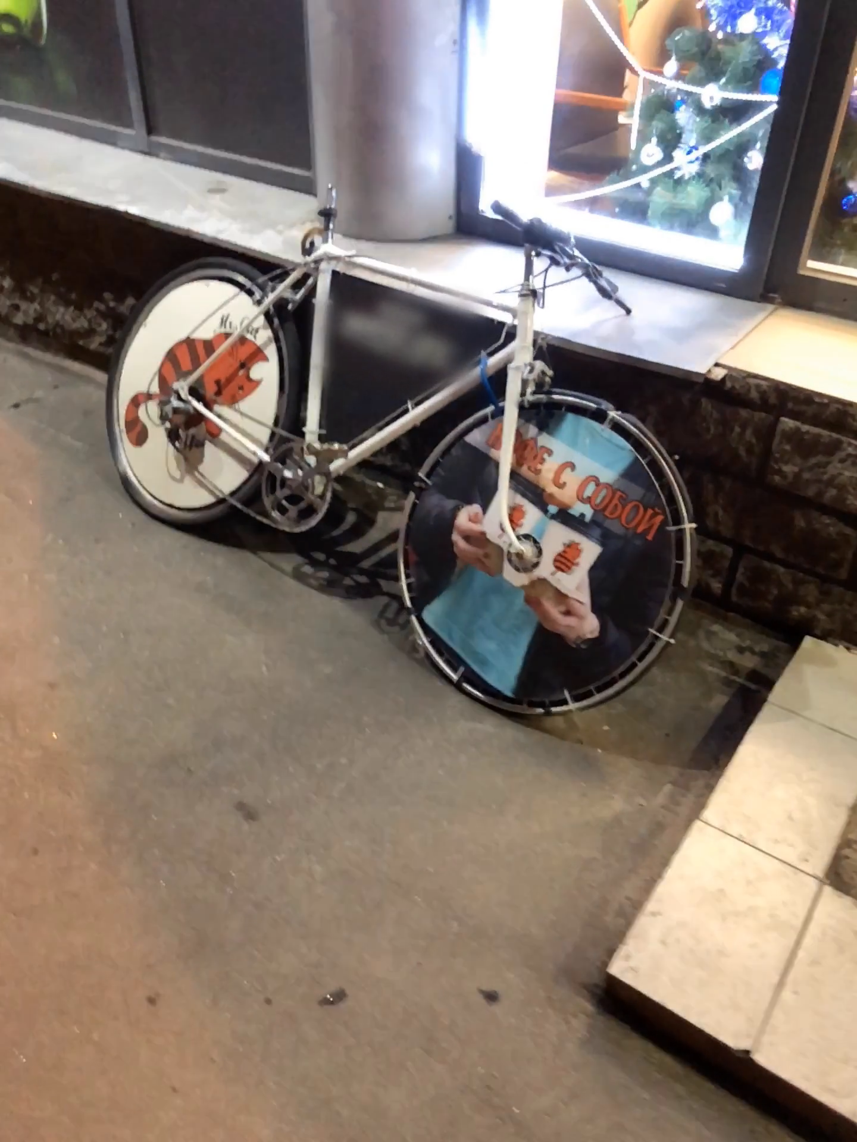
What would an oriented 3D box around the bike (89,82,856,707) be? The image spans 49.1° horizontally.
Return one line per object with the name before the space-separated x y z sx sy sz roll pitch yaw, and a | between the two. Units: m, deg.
bike | 0.050 -0.506 2.161 1.587 0.917 0.571 25 42 30
